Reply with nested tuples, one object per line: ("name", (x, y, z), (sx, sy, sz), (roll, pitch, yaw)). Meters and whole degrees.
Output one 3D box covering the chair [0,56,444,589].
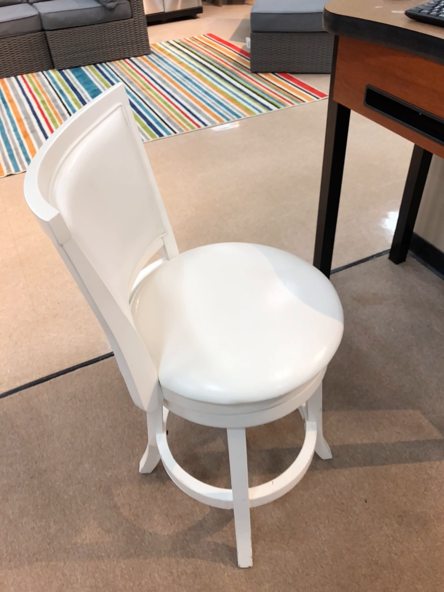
("chair", (0.022, 0.088, 1.049), (0.570, 0.943, 0.624), (2, 42, 6))
